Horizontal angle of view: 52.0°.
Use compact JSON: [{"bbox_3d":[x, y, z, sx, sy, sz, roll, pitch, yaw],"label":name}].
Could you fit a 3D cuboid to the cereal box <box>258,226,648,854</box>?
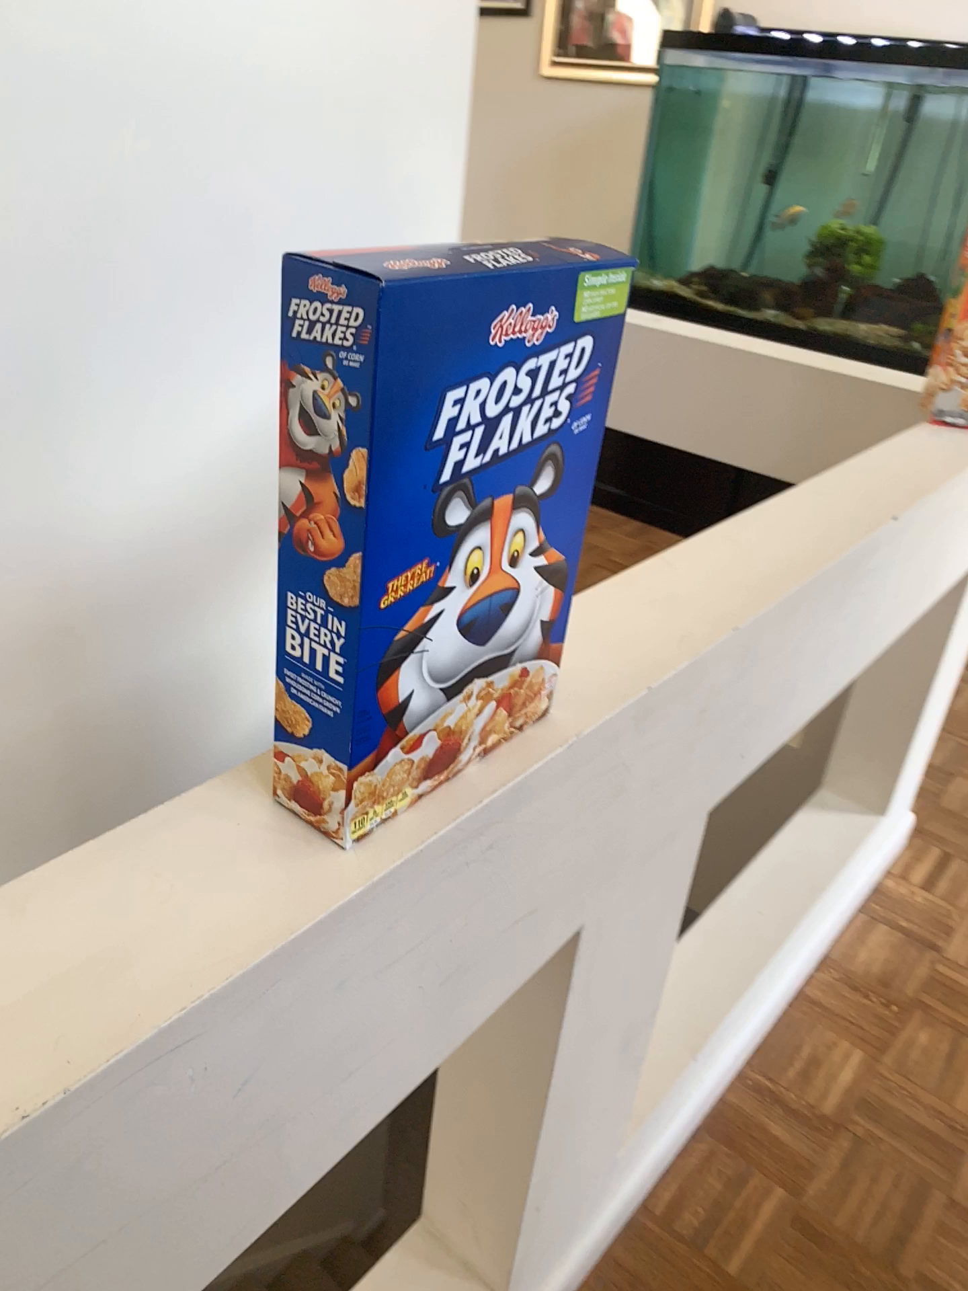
[{"bbox_3d":[-0.019,-0.061,0.527,0.060,0.288,0.201,27,34,29],"label":"cereal box"}]
